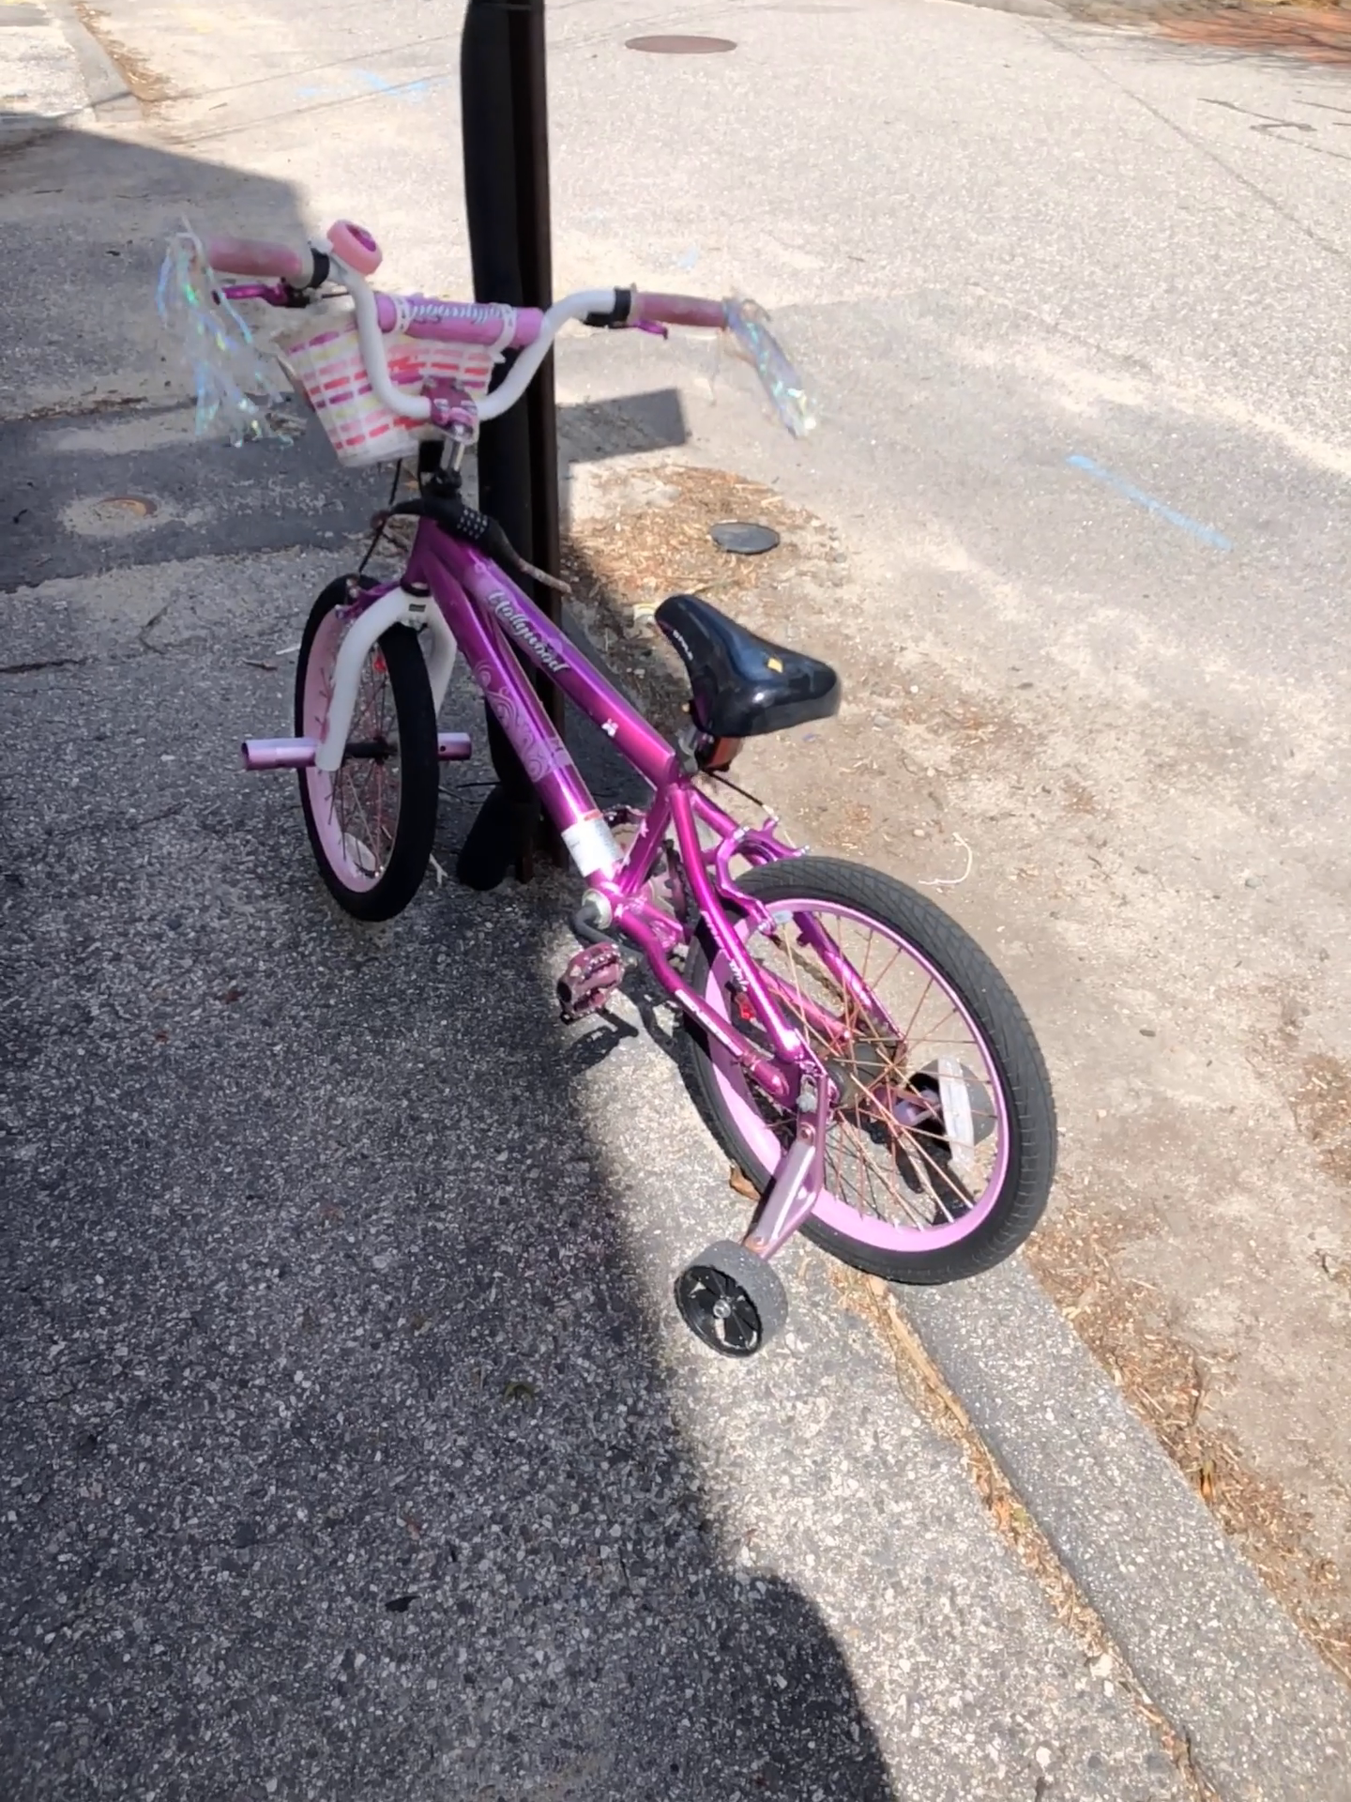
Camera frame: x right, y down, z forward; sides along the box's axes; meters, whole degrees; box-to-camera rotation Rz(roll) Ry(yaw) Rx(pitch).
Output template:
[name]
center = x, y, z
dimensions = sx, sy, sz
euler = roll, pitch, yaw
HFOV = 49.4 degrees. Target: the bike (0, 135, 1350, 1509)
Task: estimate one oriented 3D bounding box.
[bike]
center = -0.069, -0.212, 1.564
dimensions = 0.616, 0.869, 1.228
euler = -28, 46, -34
